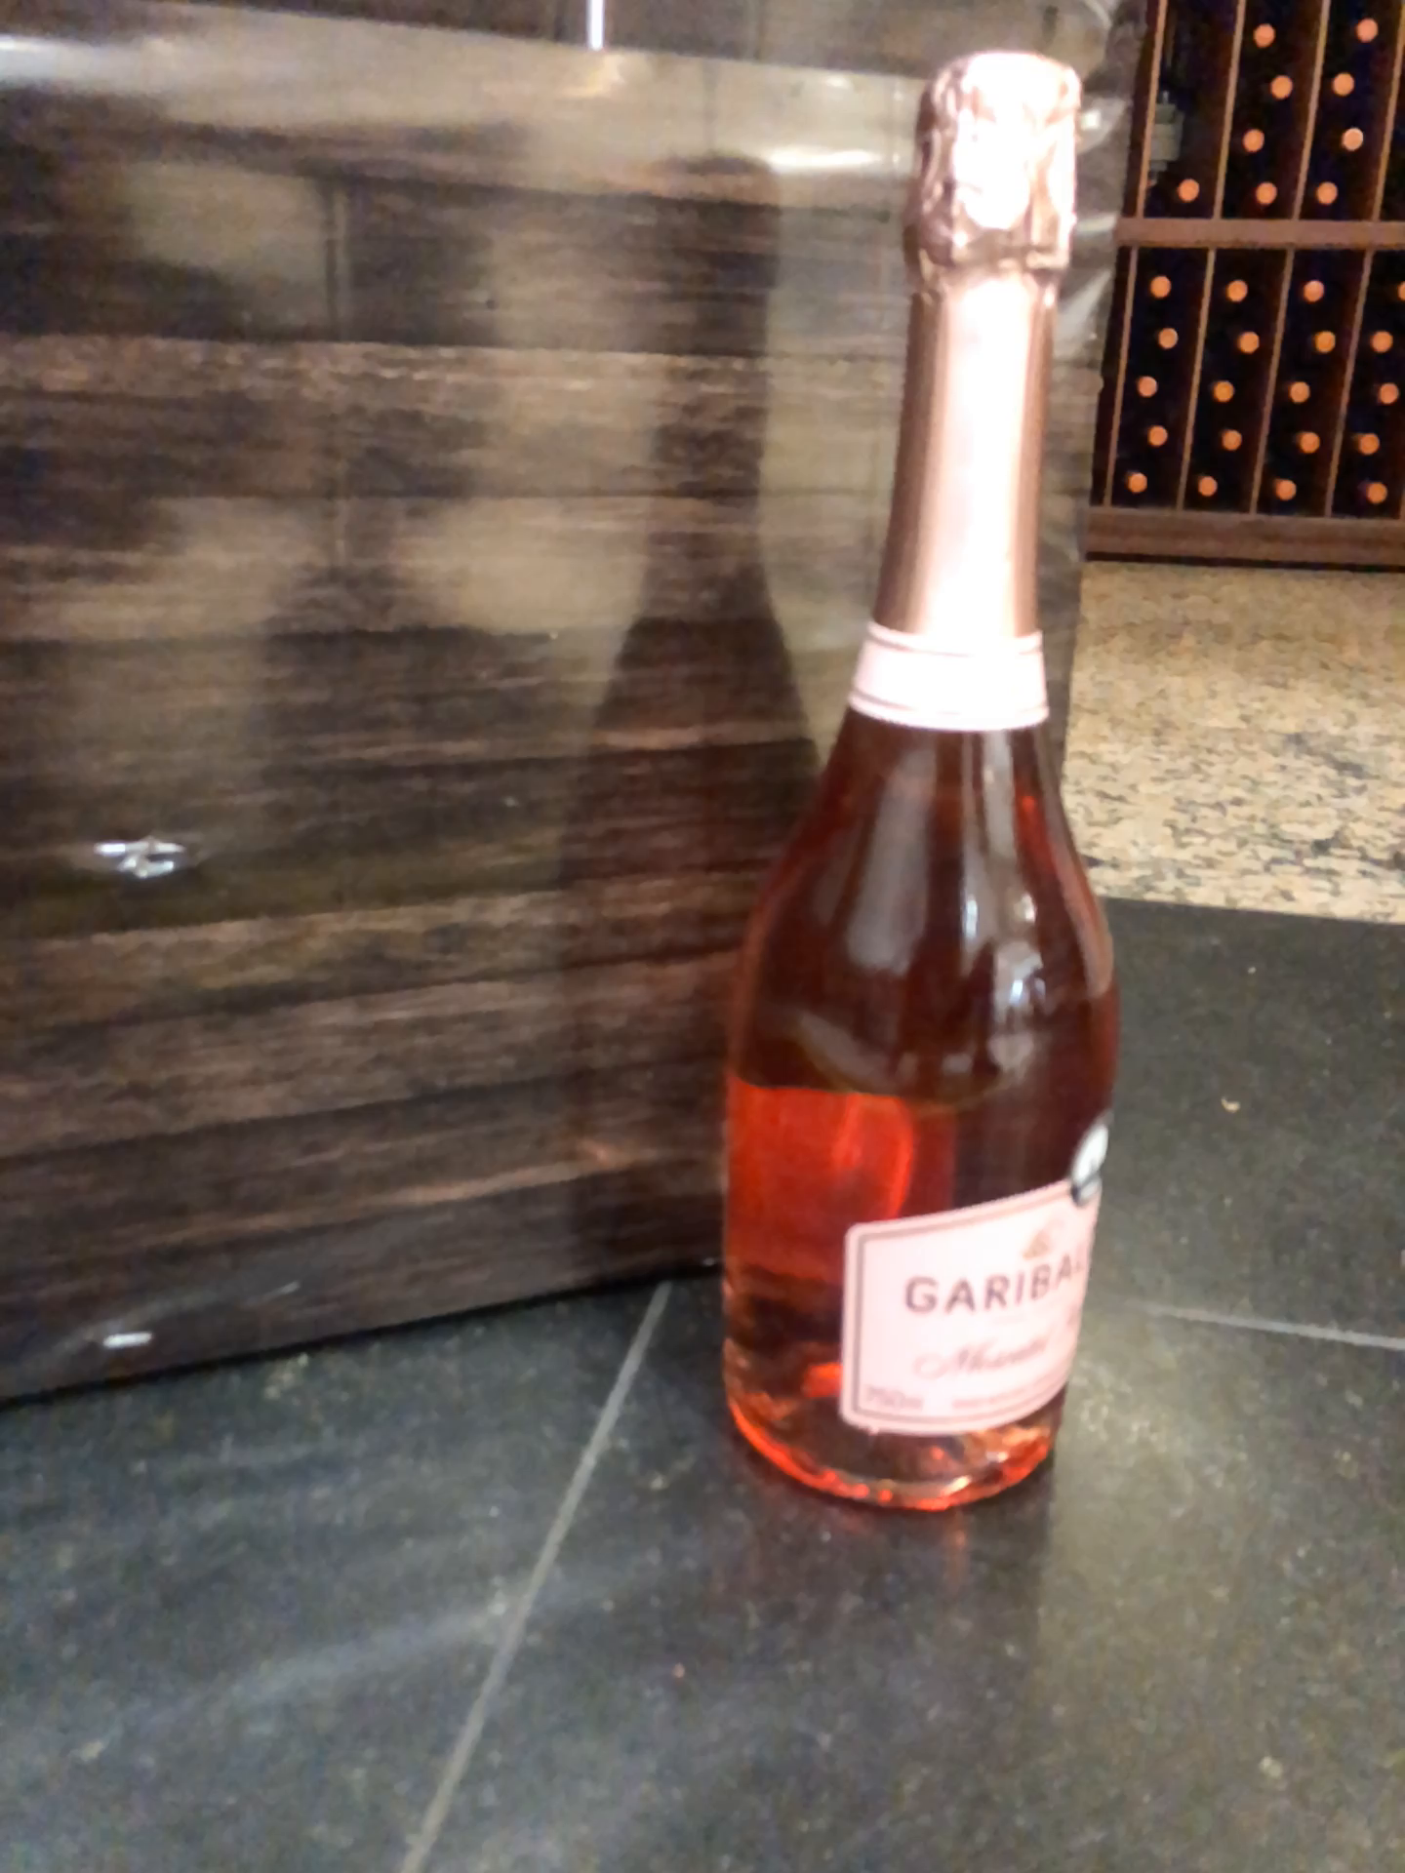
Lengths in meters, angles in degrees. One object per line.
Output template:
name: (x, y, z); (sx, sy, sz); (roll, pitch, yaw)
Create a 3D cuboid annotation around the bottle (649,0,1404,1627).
bottle: (0.062, -0.028, 0.357); (0.110, 0.338, 0.100); (1, 19, 0)
